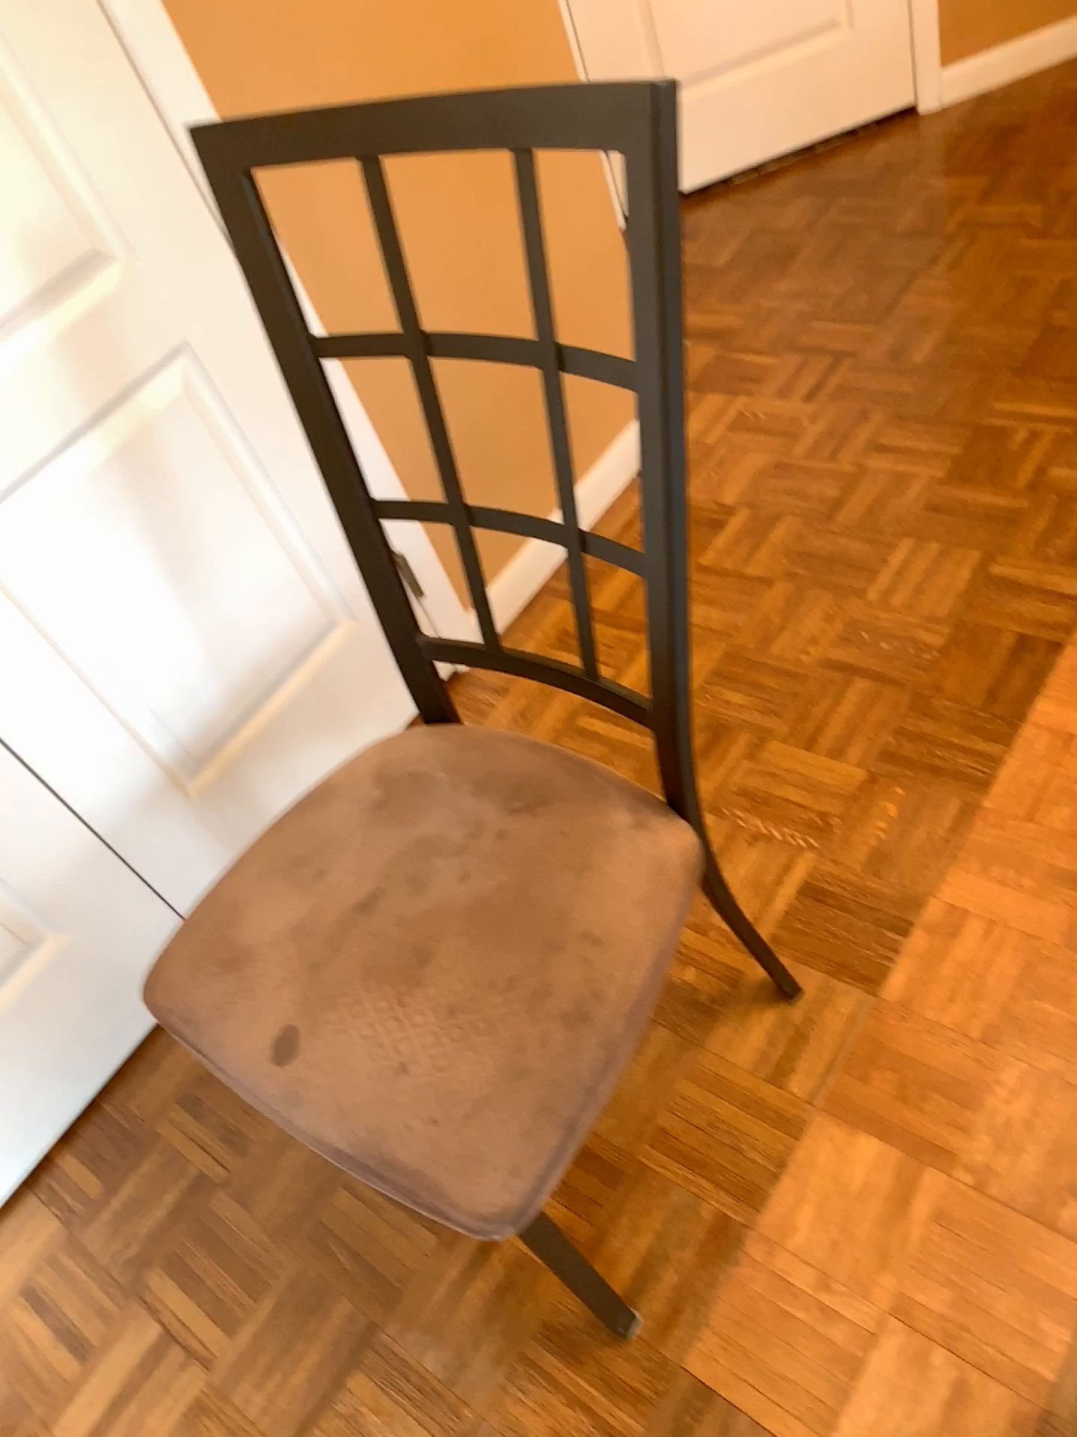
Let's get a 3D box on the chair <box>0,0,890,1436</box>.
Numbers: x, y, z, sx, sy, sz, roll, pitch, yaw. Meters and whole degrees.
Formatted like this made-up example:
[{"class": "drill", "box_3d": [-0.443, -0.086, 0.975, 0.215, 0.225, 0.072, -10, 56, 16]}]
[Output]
[{"class": "chair", "box_3d": [-0.101, 0.066, 0.959, 0.512, 0.984, 0.620, 18, 56, 36]}]
